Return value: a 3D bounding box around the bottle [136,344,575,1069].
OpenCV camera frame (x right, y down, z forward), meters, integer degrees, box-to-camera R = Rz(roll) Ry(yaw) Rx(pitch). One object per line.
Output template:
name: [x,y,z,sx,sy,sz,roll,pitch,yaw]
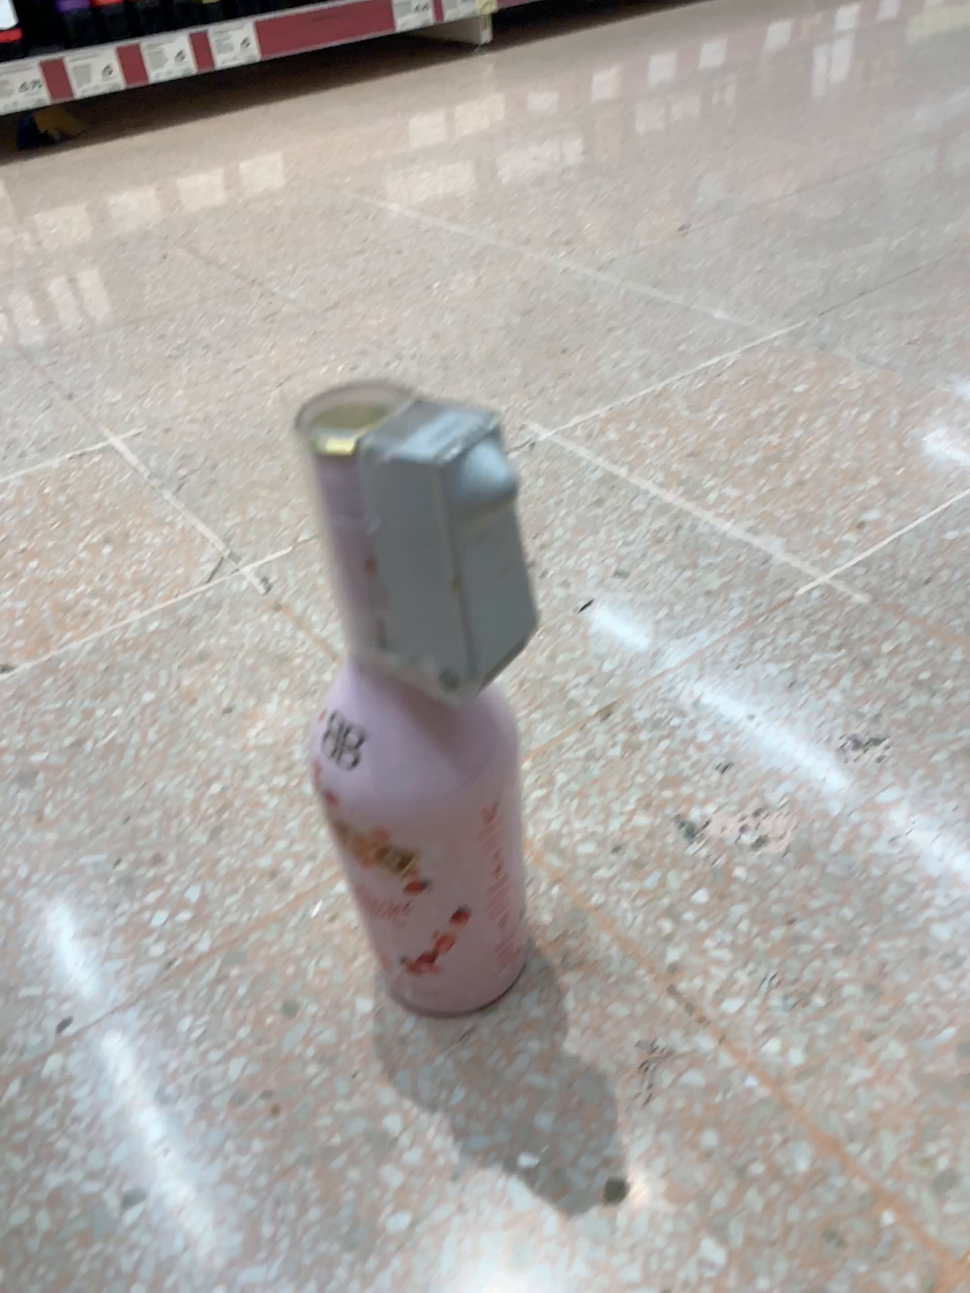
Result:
bottle: [-0.034,0.033,0.372,0.073,0.253,0.104,-34,45,-30]
